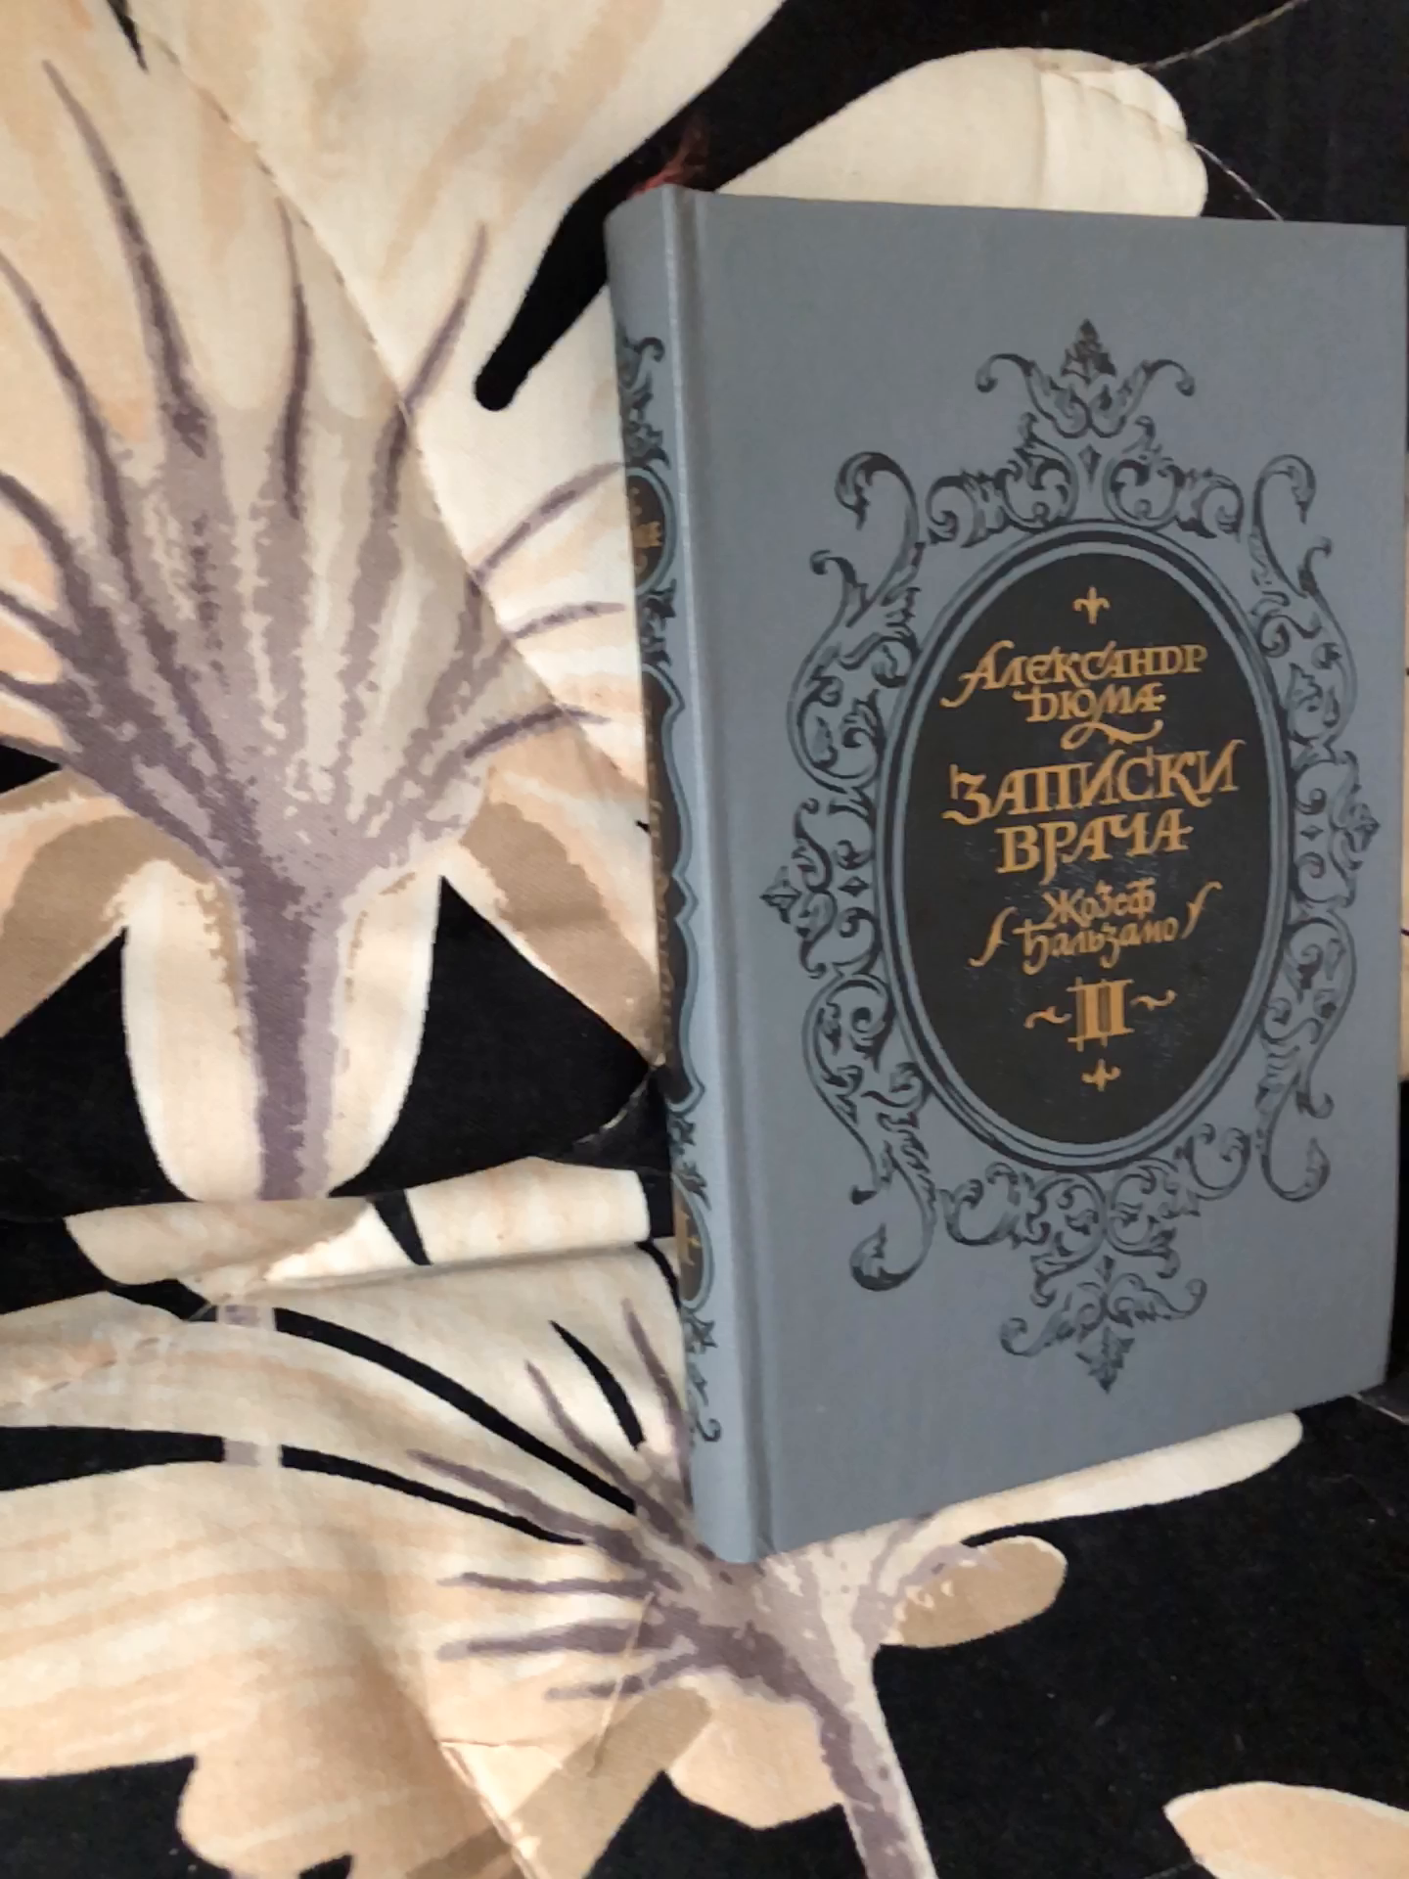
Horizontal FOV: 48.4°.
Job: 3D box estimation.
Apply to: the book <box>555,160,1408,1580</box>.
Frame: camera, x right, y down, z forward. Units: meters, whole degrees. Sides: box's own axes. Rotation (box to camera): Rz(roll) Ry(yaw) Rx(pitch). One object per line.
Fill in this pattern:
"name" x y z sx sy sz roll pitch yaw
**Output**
"book" 0.056 -0.013 0.263 0.140 0.030 0.206 -8 100 -20
